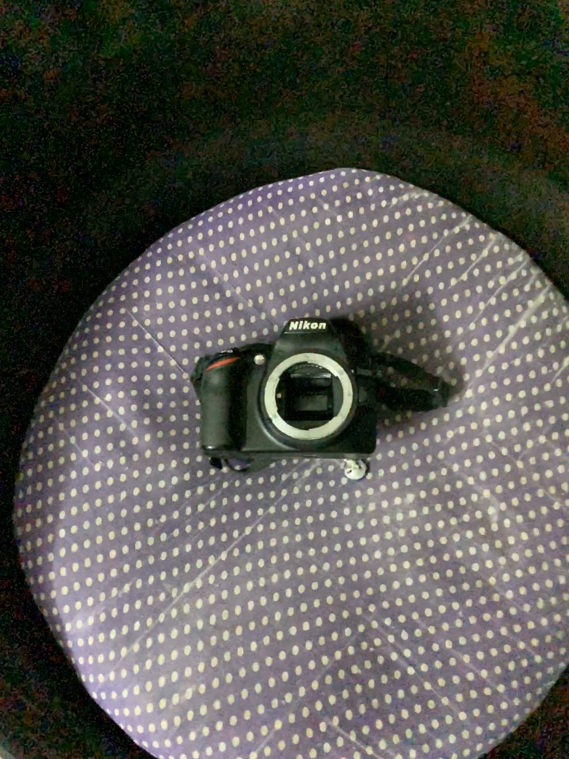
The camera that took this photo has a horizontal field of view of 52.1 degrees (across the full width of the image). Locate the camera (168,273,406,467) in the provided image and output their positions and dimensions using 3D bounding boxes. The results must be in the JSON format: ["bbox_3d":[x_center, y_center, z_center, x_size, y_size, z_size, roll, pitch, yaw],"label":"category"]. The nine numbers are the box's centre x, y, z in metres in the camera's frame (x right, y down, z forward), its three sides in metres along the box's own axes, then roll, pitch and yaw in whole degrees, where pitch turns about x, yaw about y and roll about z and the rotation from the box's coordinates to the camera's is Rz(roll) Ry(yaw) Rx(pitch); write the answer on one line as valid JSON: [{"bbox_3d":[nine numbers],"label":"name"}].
[{"bbox_3d":[0.002,-0.001,0.392,0.140,0.080,0.110,-3,79,4],"label":"camera"}]
